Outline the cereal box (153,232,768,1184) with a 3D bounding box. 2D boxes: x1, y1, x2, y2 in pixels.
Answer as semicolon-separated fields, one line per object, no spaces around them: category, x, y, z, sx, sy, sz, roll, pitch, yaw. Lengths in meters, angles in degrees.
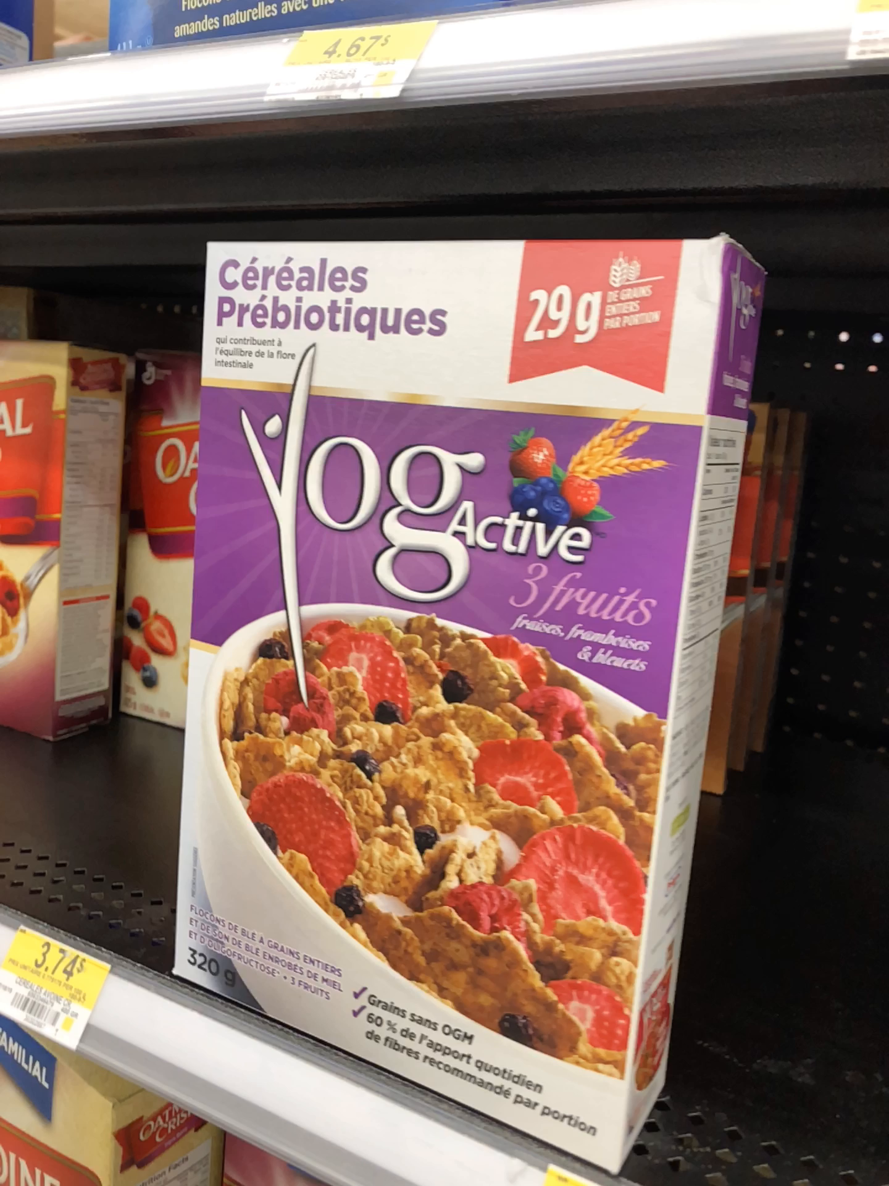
cereal box;-0.008;0.025;0.349;0.190;0.279;0.060;10;11;28
